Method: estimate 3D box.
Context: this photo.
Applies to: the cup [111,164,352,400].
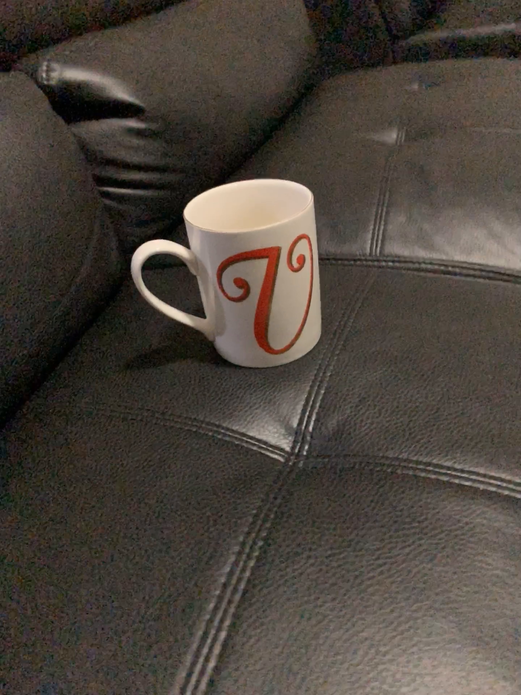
[{"bbox_3d":[-0.021,-0.051,0.384,0.139,0.106,0.098,-15,35,-9],"label":"cup"}]
